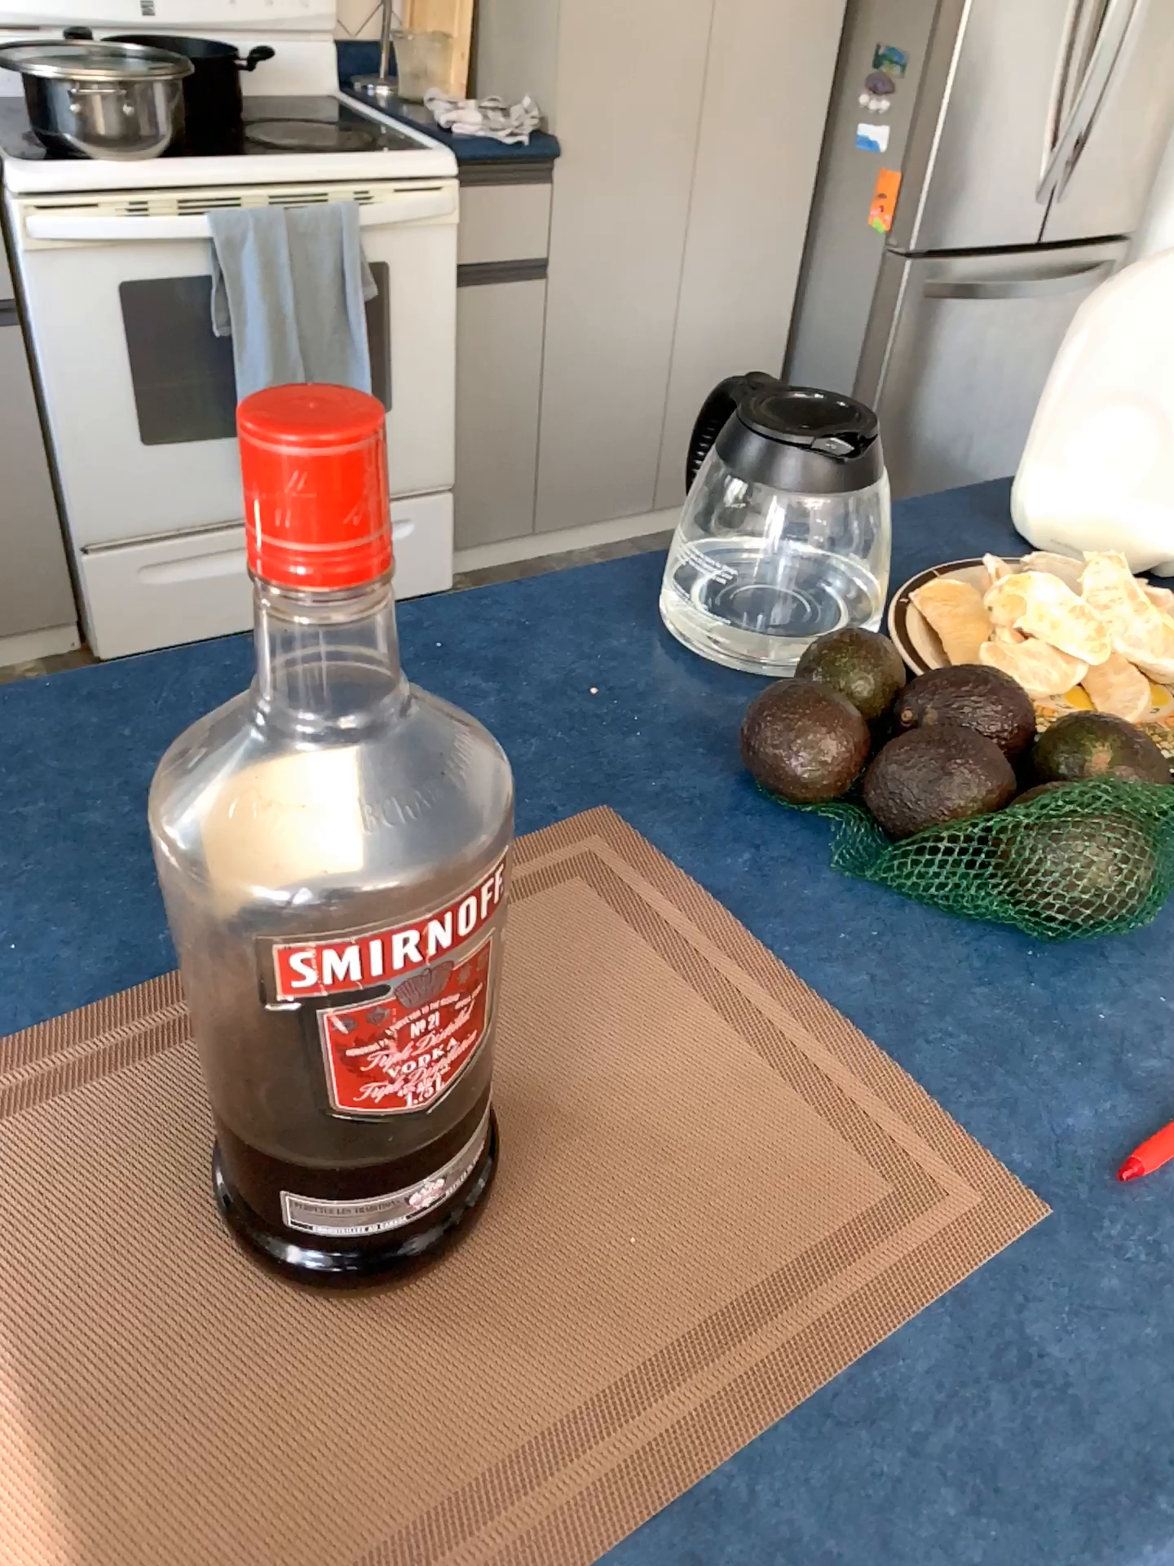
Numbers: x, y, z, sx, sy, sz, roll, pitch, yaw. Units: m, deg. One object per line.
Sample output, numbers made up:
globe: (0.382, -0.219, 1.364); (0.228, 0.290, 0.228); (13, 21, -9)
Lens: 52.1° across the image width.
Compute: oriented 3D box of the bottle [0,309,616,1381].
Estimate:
bottle: (-0.086, 0.033, 0.388); (0.120, 0.317, 0.111); (4, 37, -3)
